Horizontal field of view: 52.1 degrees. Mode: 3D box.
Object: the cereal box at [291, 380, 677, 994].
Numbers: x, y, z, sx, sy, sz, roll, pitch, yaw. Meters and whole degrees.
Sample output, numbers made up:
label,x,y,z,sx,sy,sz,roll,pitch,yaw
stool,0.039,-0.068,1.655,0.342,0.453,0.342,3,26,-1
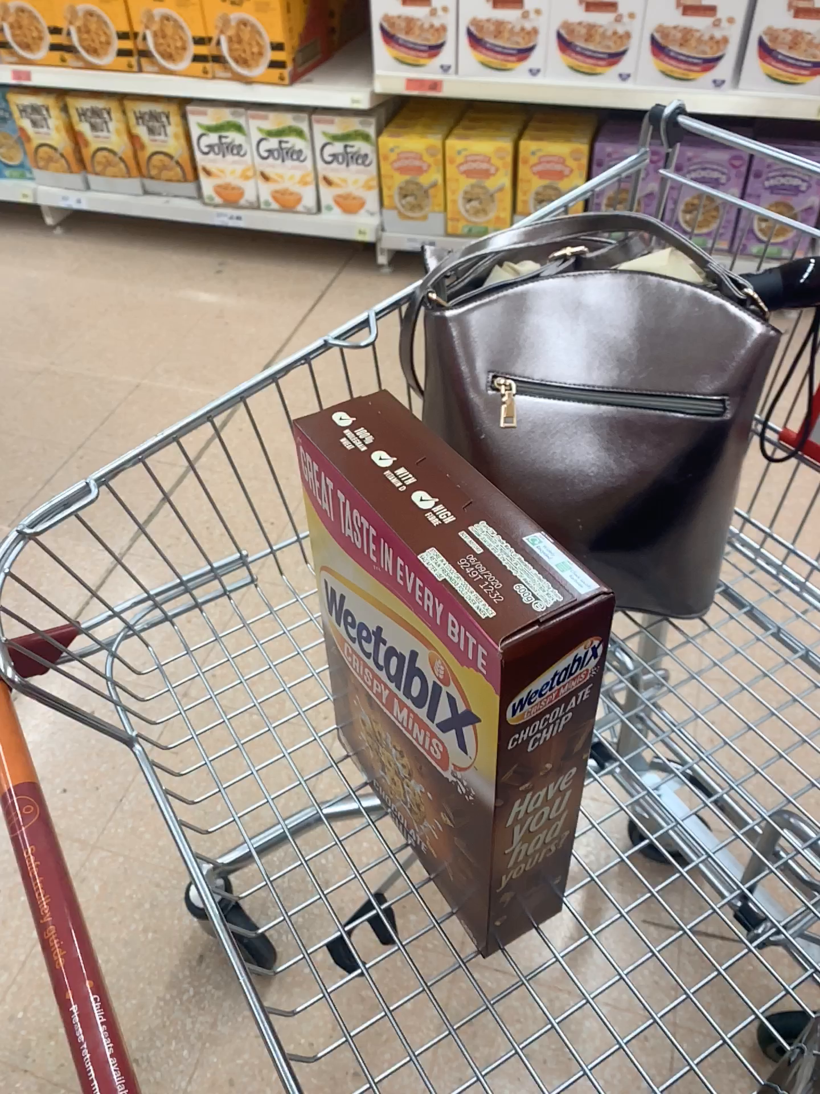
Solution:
label,x,y,z,sx,sy,sz,roll,pitch,yaw
cereal box,0.028,0.097,0.511,0.070,0.327,0.211,-25,48,-22
